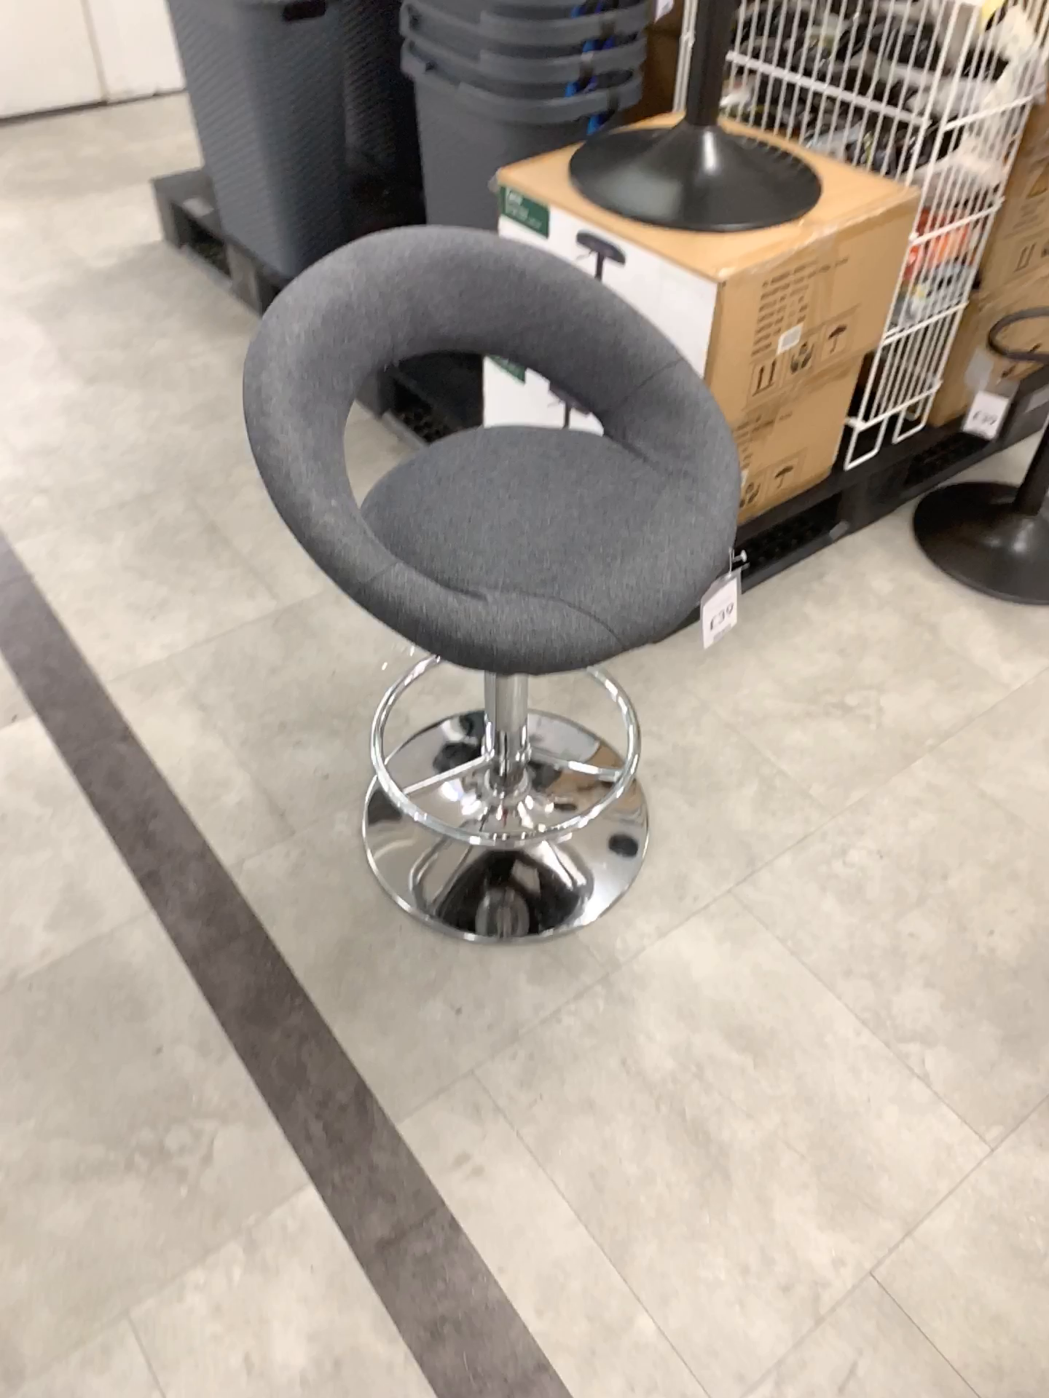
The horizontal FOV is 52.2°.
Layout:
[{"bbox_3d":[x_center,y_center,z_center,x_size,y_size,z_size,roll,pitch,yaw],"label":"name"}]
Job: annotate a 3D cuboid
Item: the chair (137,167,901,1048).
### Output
[{"bbox_3d":[-0.013,-0.099,1.308,0.548,0.787,0.488,-32,55,-29],"label":"chair"}]
